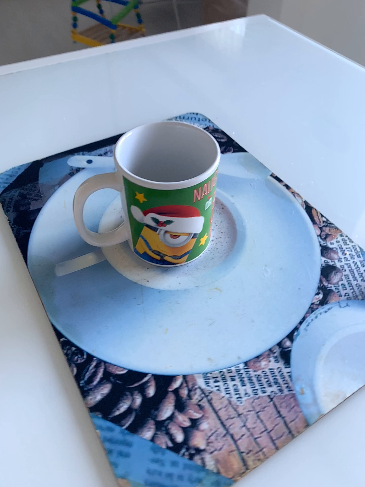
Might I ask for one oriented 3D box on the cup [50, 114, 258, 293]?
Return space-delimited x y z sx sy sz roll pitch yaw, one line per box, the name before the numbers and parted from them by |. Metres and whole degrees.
cup | -0.026 -0.037 0.310 0.133 0.077 0.094 -15 51 -14
